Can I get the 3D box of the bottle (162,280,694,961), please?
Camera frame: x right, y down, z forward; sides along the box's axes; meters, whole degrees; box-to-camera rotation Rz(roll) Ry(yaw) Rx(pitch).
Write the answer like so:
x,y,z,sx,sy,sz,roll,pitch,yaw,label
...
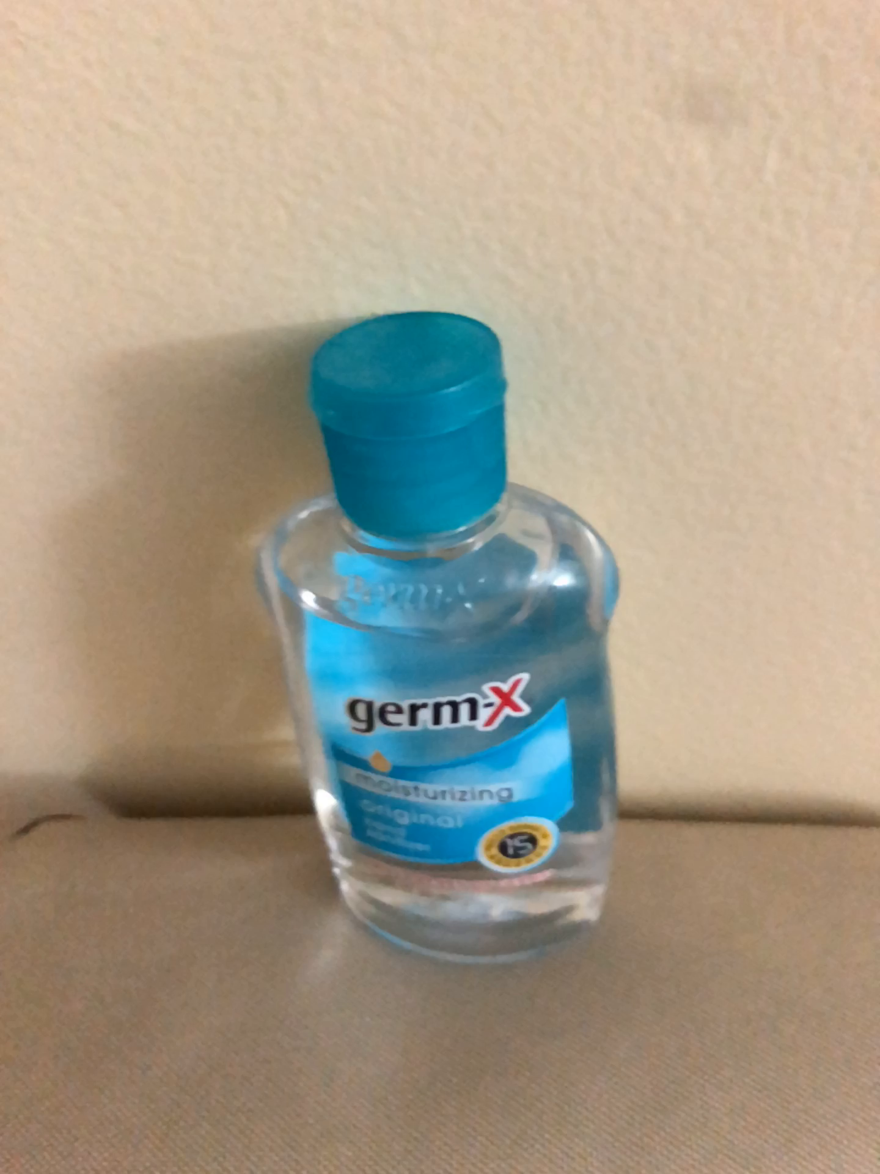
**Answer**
x,y,z,sx,sy,sz,roll,pitch,yaw,label
0.002,0.012,0.158,0.060,0.110,0.030,1,37,5,bottle
